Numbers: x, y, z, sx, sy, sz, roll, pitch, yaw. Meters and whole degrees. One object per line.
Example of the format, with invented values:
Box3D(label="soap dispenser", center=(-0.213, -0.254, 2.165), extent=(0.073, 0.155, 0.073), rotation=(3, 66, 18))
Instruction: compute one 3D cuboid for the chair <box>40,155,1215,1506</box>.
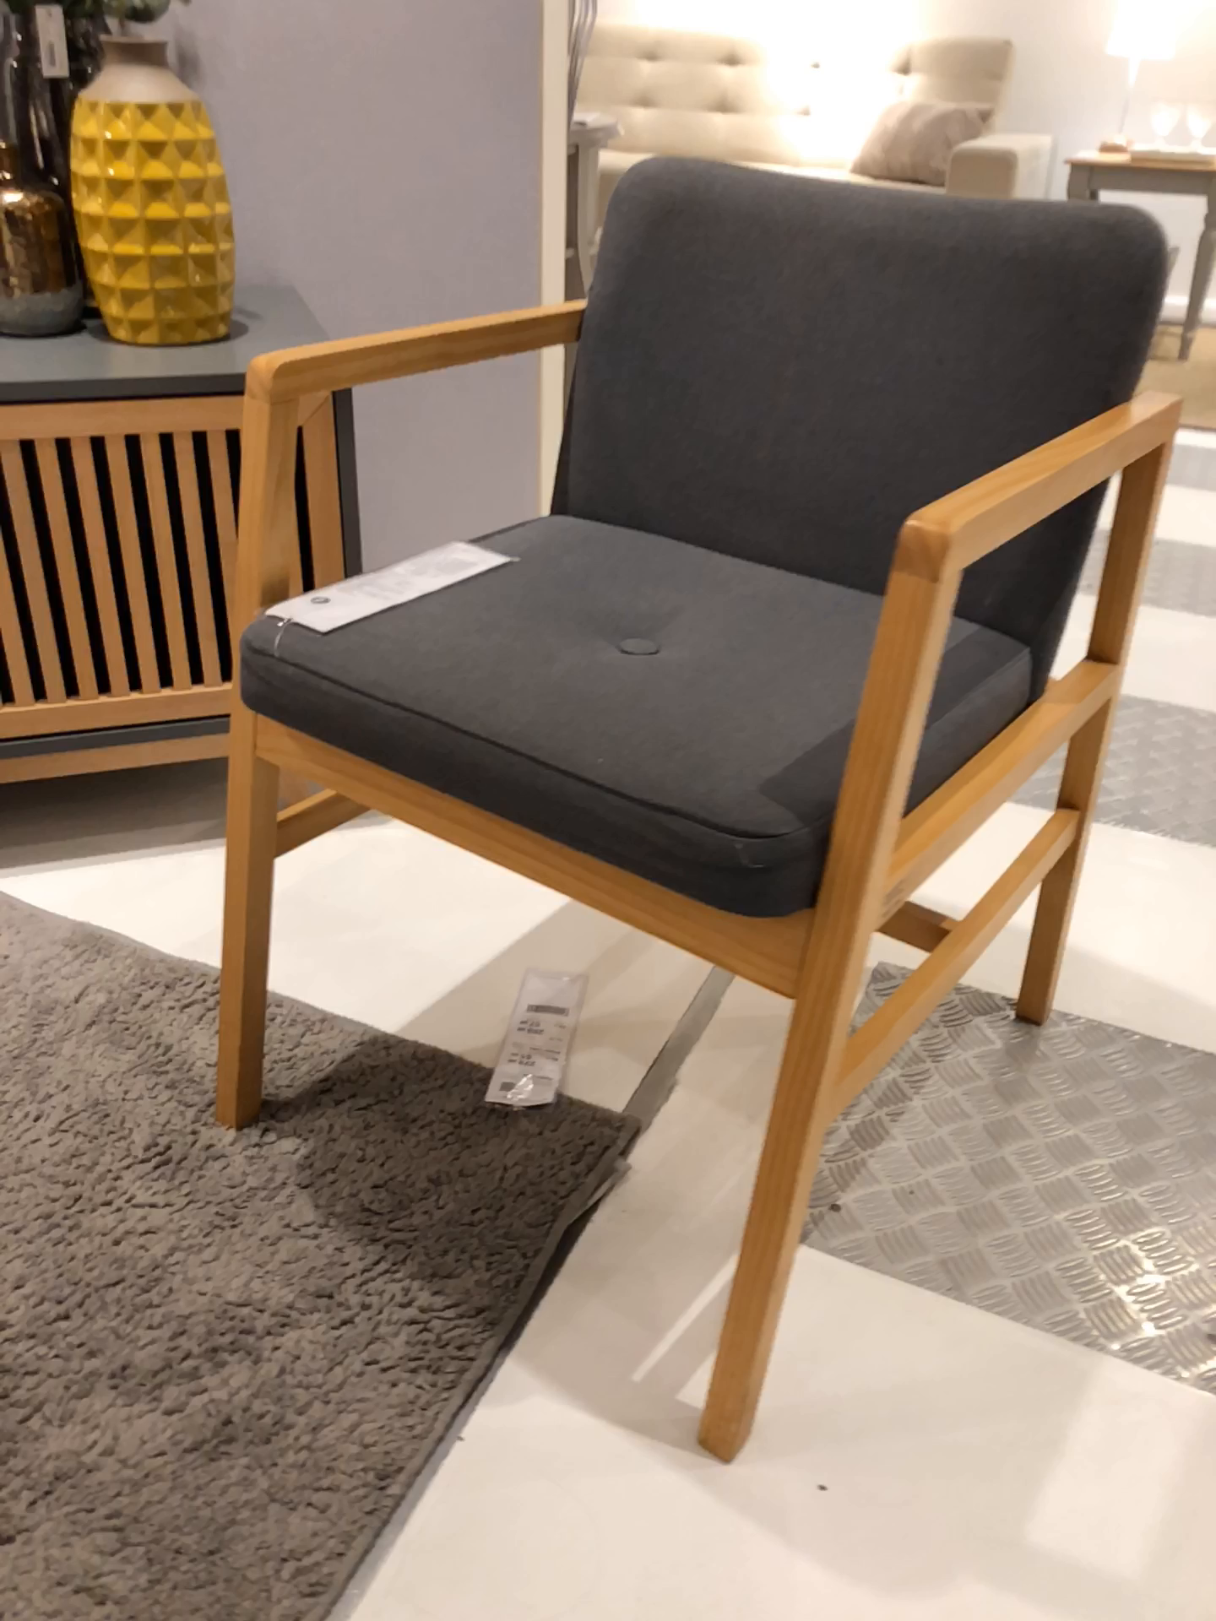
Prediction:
Box3D(label="chair", center=(0.082, -0.090, 1.087), extent=(0.561, 0.734, 0.704), rotation=(21, 35, 29))
